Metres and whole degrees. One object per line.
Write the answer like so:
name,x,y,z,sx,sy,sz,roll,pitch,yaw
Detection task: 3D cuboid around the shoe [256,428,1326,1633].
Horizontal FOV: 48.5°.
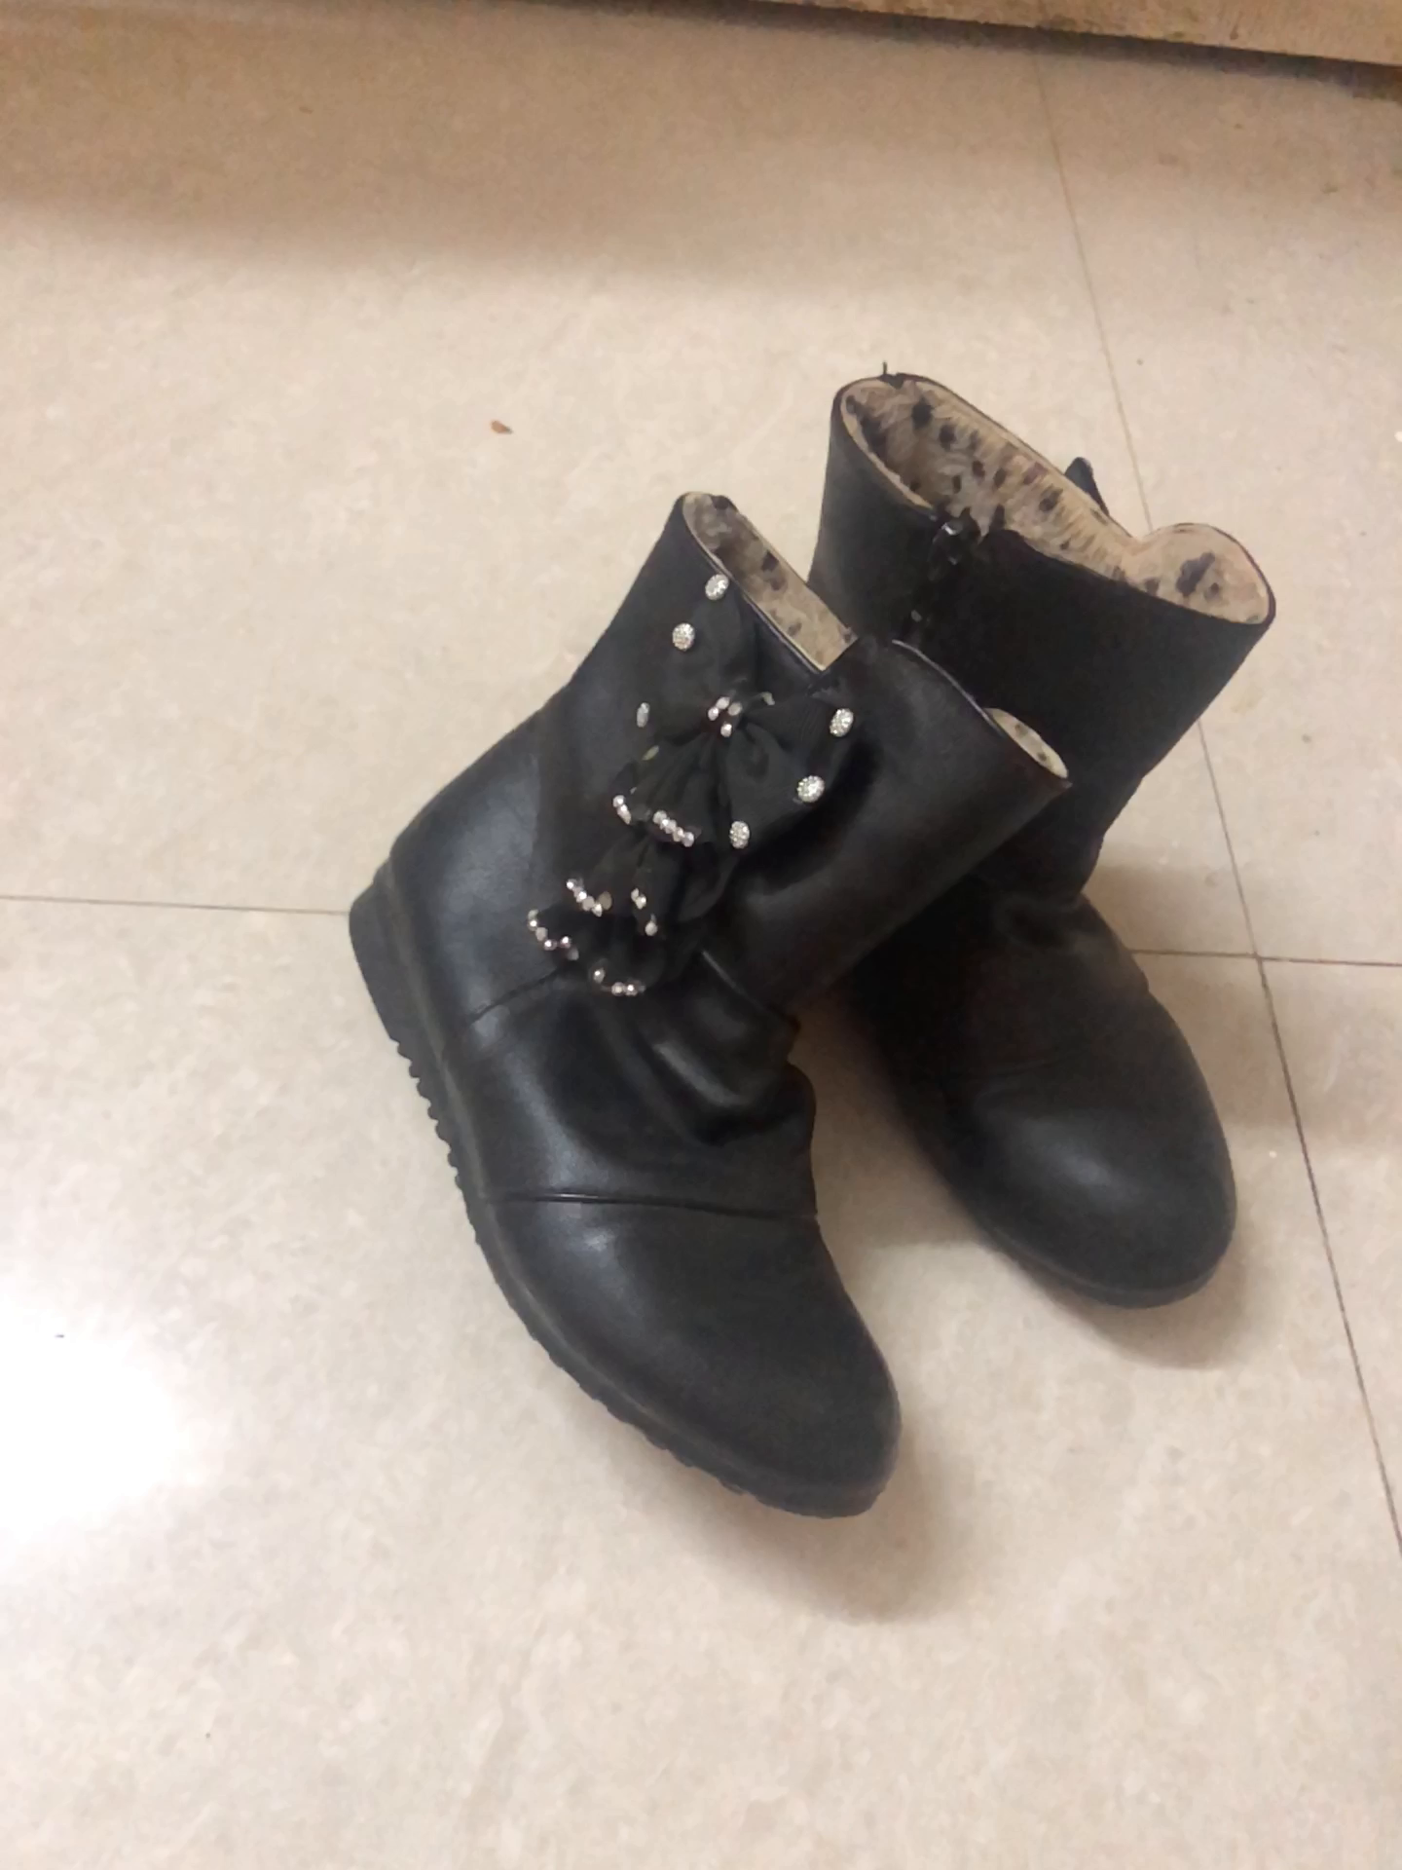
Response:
shoe,0.005,0.016,0.349,0.090,0.139,0.201,3,48,-49

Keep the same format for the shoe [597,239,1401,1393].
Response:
shoe,0.070,-0.030,0.370,0.090,0.139,0.221,-23,63,-21
